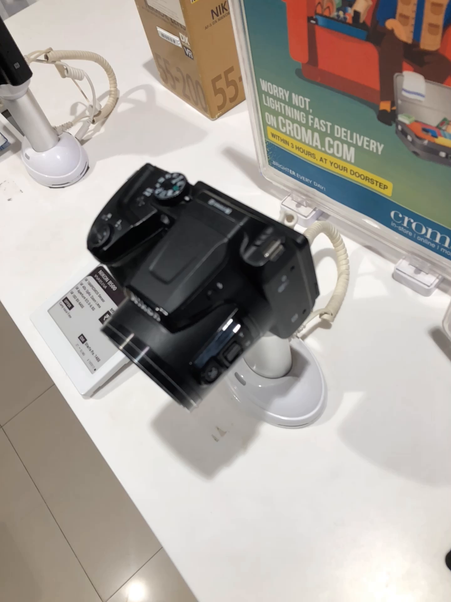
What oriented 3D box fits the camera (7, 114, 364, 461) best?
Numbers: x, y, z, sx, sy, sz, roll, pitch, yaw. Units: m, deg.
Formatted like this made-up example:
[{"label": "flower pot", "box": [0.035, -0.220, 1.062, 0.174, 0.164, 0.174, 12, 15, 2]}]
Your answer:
[{"label": "camera", "box": [-0.014, -0.011, 0.238, 0.110, 0.070, 0.110, 33, 70, 29]}]
